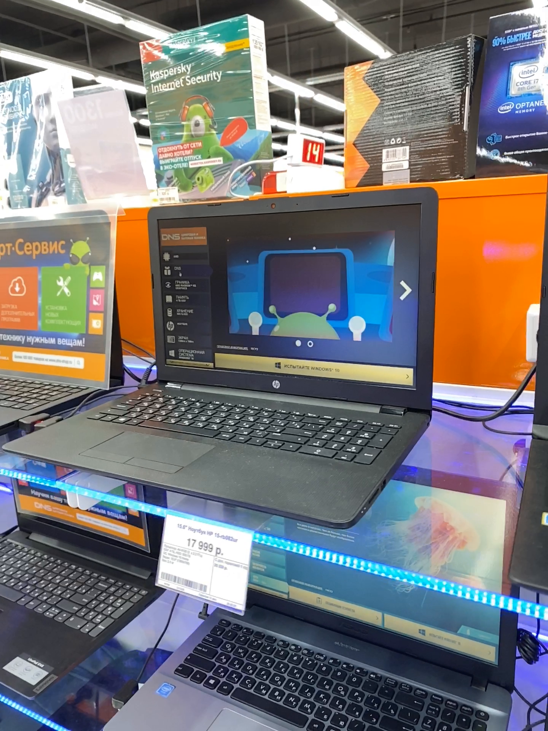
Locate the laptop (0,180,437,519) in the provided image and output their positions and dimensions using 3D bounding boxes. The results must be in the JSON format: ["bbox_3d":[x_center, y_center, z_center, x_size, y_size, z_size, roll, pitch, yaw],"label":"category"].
[{"bbox_3d":[-0.054,-0.049,0.574,0.369,0.231,0.271,4,15,27],"label":"laptop"}]
